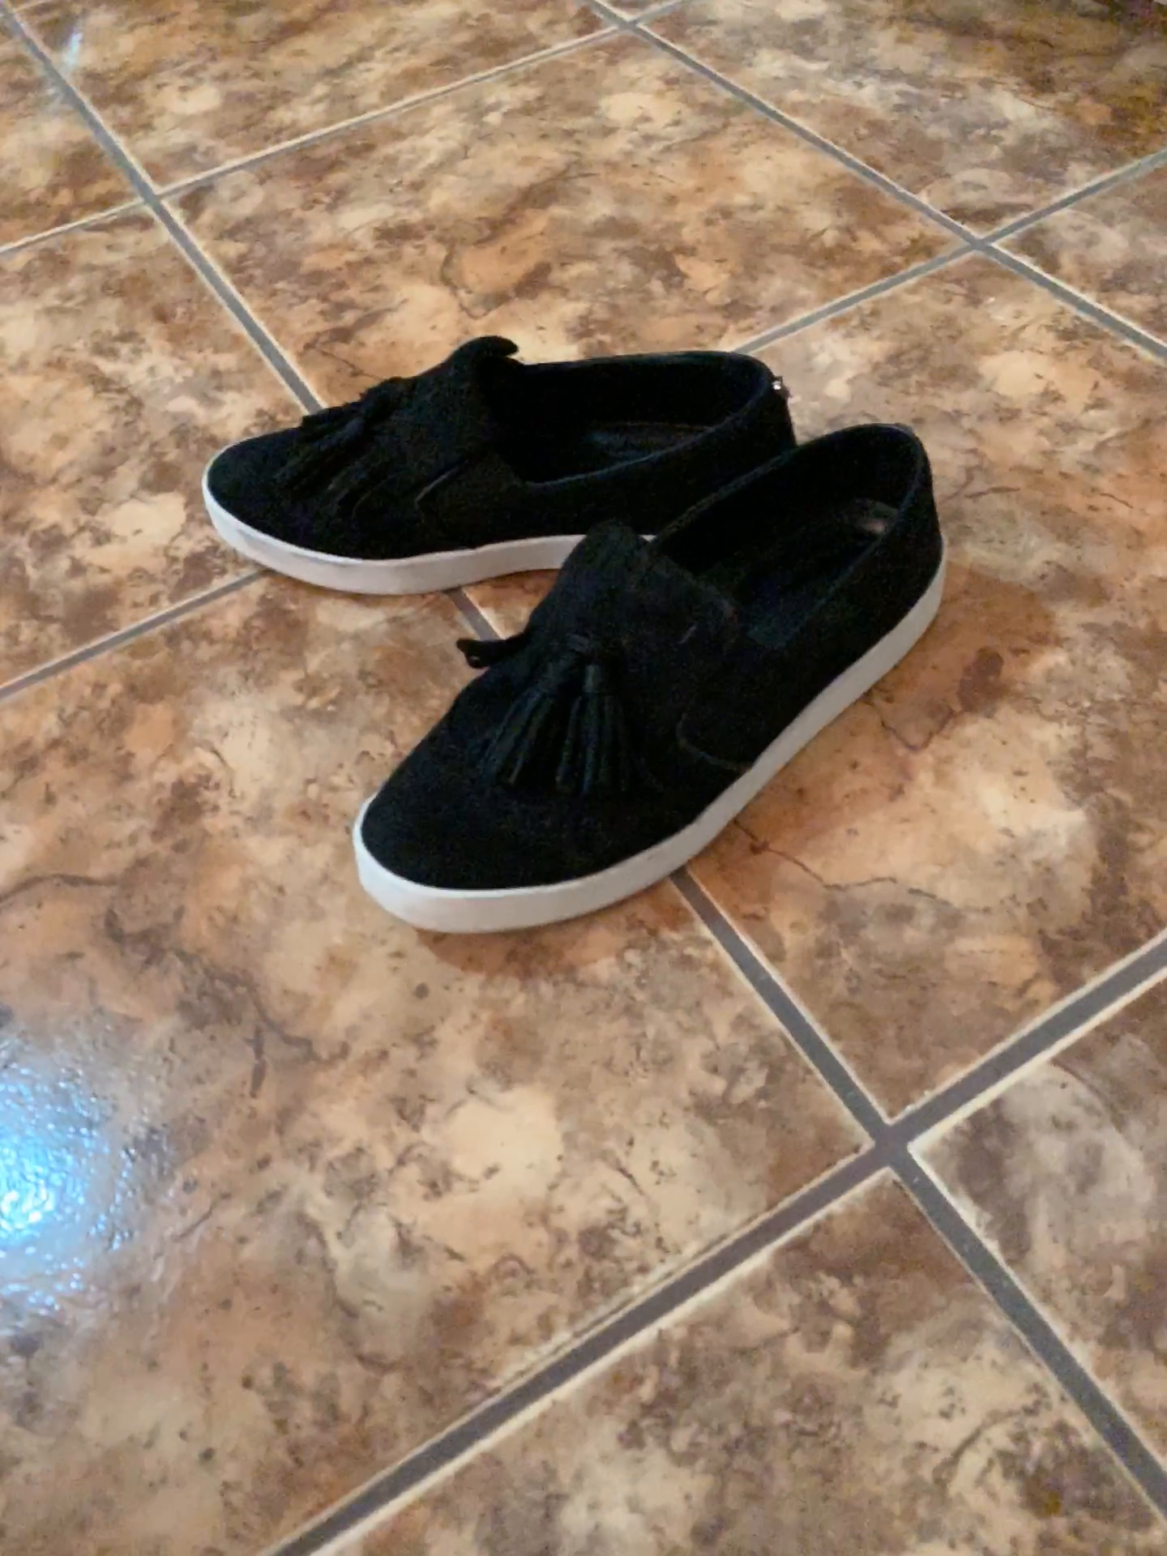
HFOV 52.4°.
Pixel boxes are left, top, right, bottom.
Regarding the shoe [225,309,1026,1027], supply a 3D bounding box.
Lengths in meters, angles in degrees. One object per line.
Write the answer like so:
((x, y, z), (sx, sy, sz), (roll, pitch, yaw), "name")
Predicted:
((0.023, -0.047, 0.407), (0.250, 0.094, 0.098), (-37, 59, -21), "shoe")

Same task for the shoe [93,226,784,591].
((-0.050, -0.150, 0.490), (0.249, 0.094, 0.098), (-1, 53, 4), "shoe")
